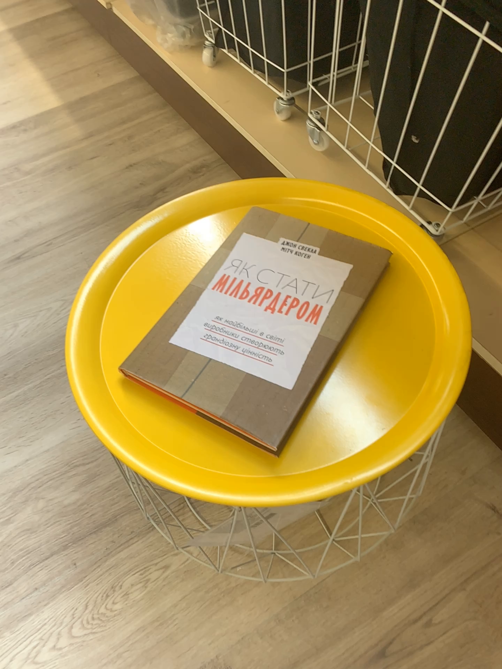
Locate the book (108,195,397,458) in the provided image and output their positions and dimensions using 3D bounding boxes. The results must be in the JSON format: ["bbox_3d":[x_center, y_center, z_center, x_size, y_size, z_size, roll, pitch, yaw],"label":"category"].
[{"bbox_3d":[0.009,-0.027,0.475,0.170,0.020,0.236,23,60,21],"label":"book"}]
